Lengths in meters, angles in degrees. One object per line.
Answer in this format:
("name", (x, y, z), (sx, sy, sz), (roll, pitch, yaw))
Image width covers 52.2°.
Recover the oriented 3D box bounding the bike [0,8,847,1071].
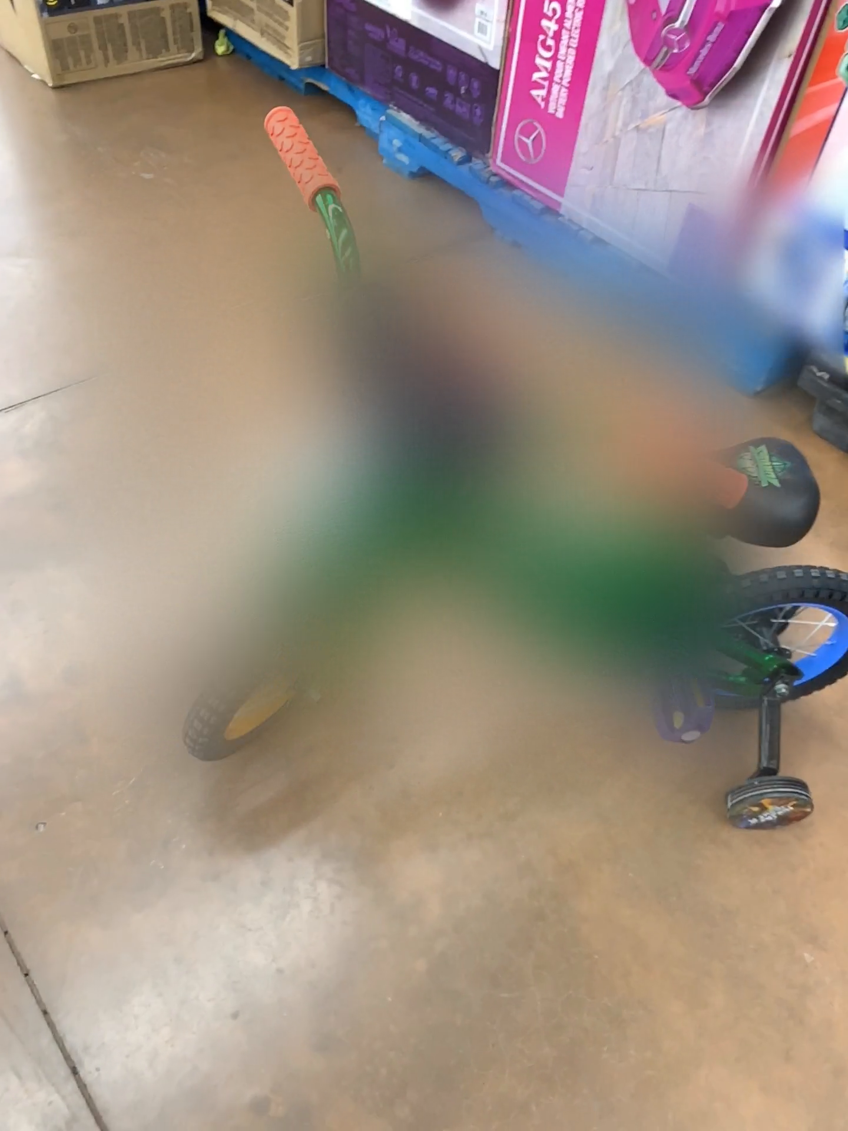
("bike", (0.204, 0.014, 0.833), (0.850, 0.732, 0.491), (-5, 50, -15))
